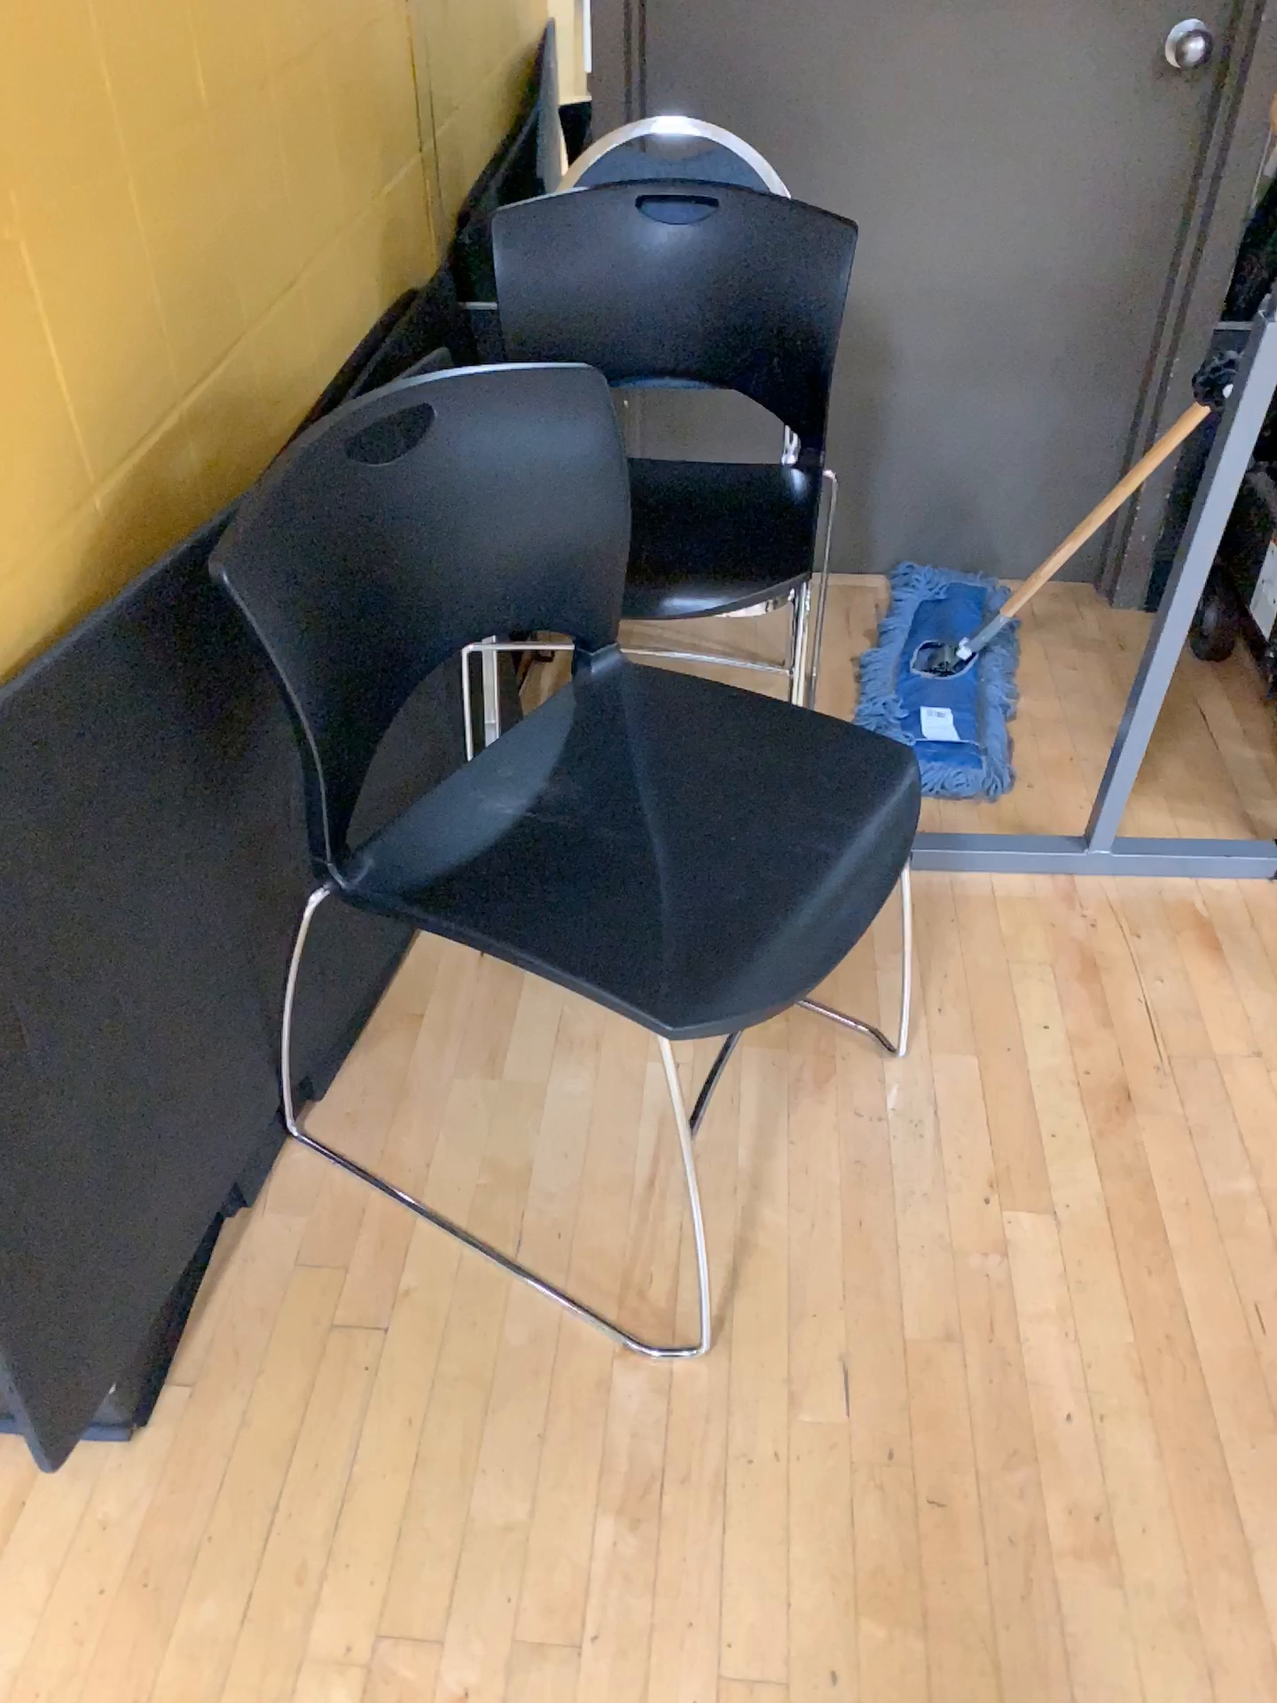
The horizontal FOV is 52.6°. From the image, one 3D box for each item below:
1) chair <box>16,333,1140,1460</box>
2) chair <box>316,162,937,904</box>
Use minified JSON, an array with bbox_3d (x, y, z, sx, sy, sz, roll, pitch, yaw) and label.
[{"bbox_3d":[-0.030,-0.013,1.331,0.727,0.722,0.638,22,44,25],"label":"chair"},{"bbox_3d":[0.041,-0.503,1.921,0.676,0.761,0.780,7,39,8],"label":"chair"}]
